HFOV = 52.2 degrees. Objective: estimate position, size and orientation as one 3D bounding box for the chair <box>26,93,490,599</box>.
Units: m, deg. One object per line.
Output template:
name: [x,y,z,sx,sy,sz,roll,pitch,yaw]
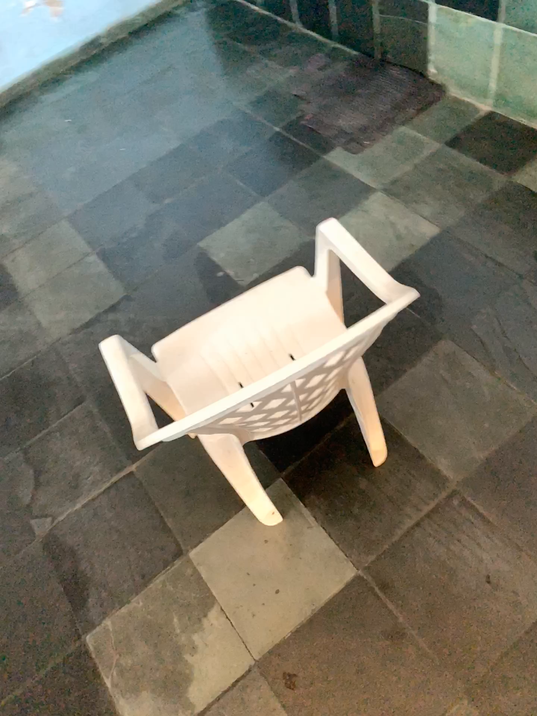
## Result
chair: [0.004,0.012,1.155,0.540,0.717,0.592,-31,54,-7]
